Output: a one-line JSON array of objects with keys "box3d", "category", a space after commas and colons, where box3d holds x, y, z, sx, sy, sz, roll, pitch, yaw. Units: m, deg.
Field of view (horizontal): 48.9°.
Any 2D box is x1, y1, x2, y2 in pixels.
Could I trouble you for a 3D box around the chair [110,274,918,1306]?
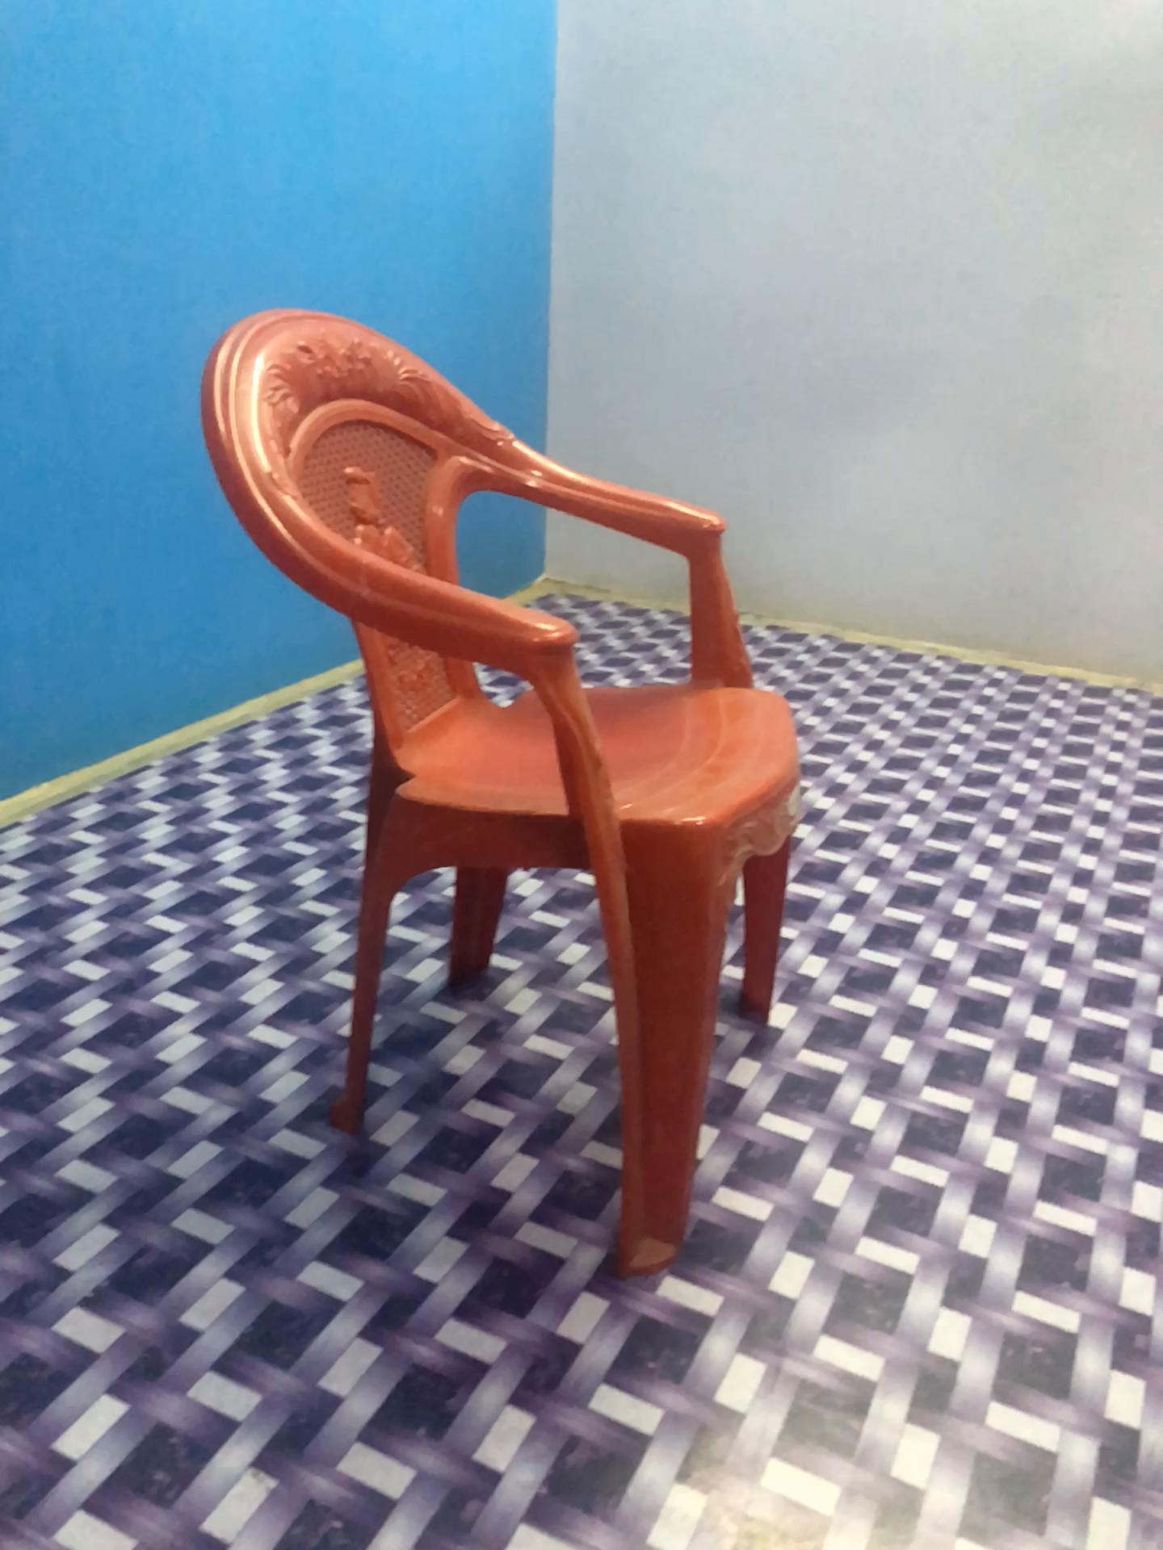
[{"box3d": [-0.016, -0.042, 0.905, 0.380, 0.558, 0.412, 10, 22, 18], "category": "chair"}]
